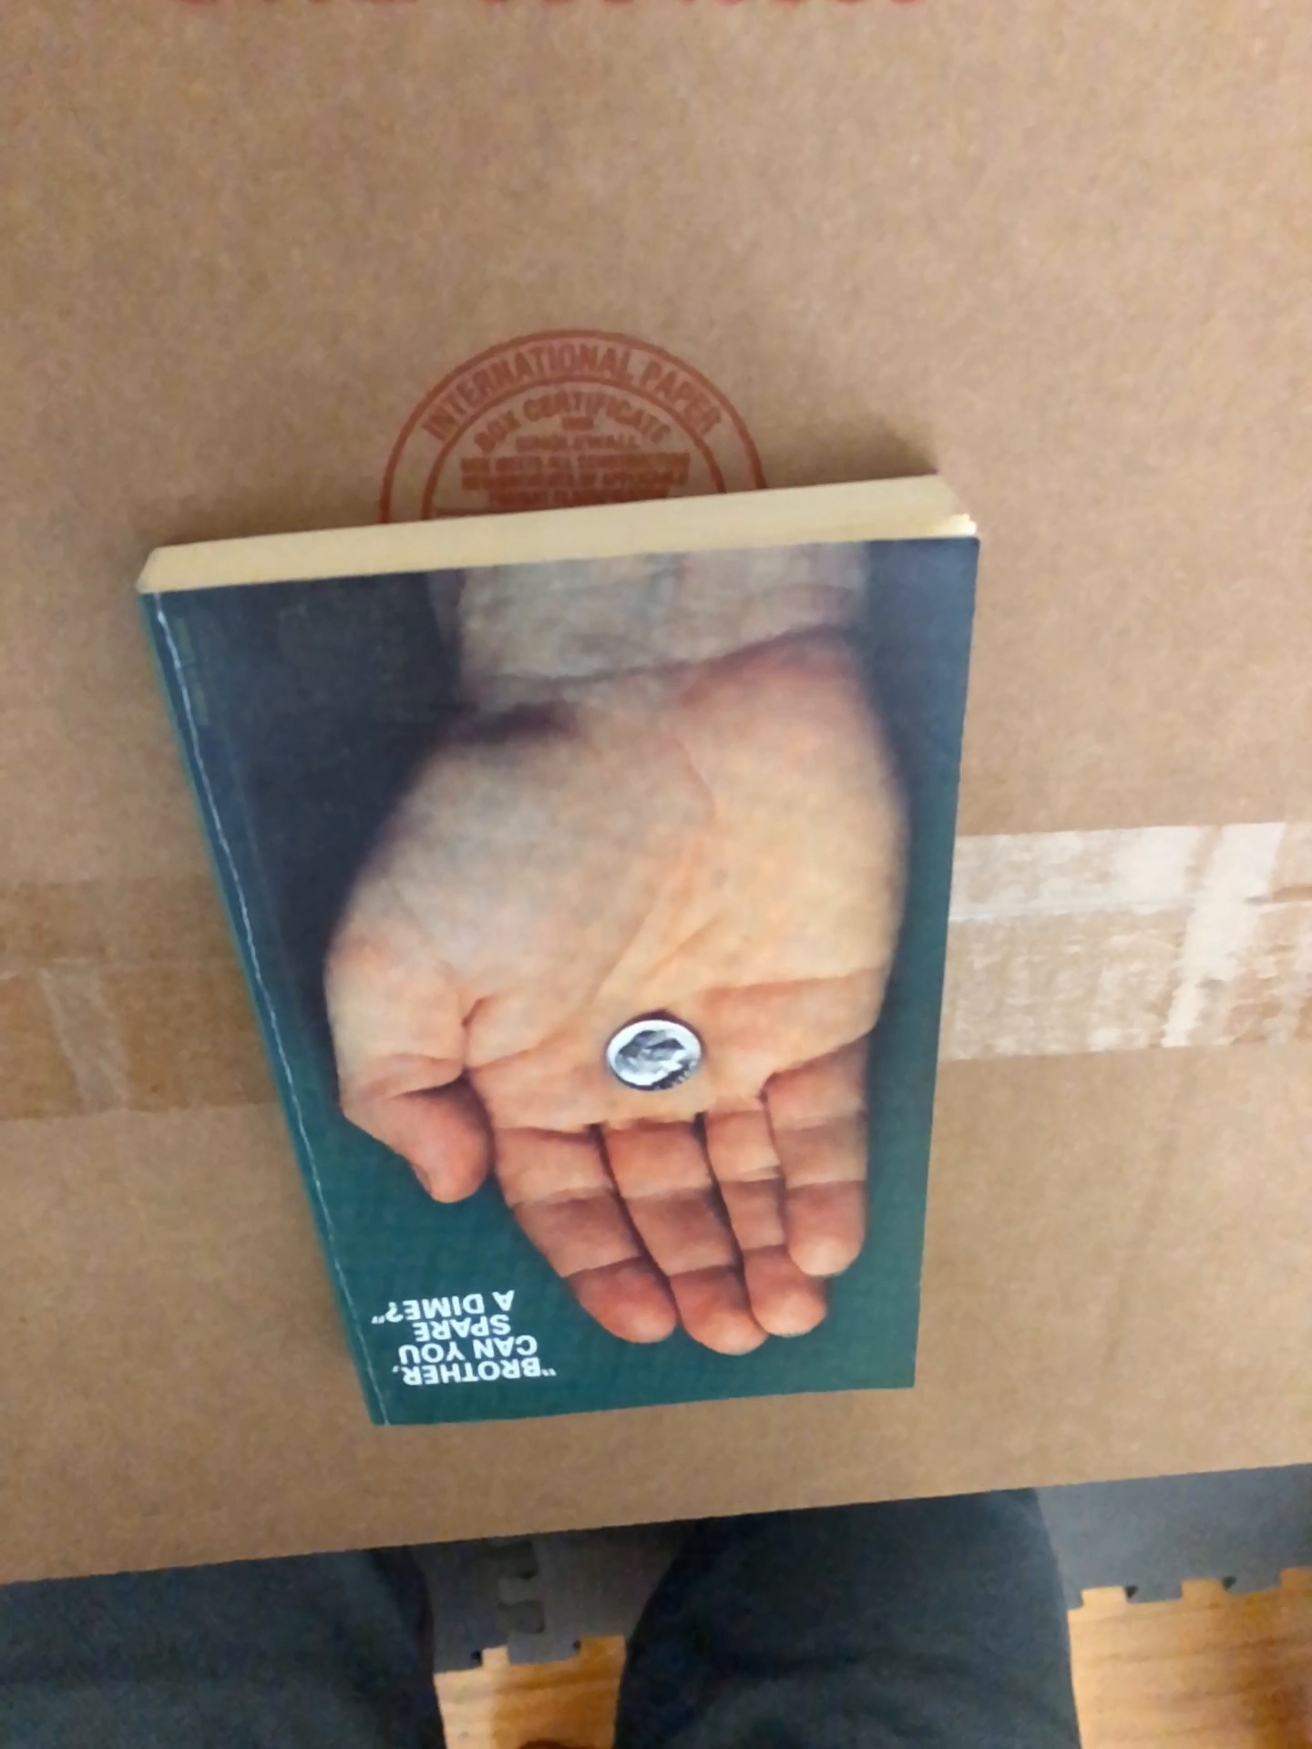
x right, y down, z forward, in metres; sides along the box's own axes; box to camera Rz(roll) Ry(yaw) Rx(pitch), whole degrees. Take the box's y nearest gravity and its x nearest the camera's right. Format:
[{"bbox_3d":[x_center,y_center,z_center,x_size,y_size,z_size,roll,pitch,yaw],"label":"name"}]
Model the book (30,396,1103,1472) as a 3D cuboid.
[{"bbox_3d":[-0.005,0.025,0.223,0.120,0.020,0.180,-6,126,-2],"label":"book"}]
